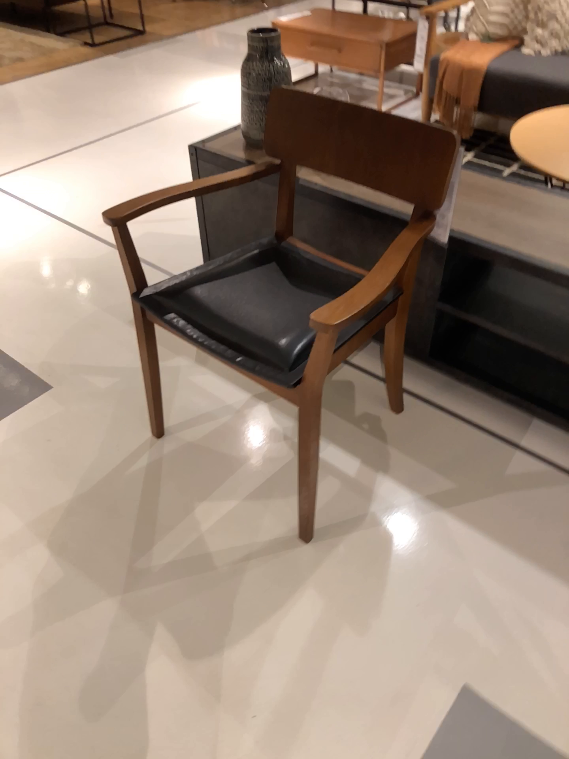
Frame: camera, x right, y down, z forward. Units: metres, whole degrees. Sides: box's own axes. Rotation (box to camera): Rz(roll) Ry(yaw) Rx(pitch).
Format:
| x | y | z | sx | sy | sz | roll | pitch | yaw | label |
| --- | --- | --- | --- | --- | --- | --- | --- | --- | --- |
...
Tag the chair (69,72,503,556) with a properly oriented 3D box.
| x | y | z | sx | sy | sz | roll | pitch | yaw | label |
| --- | --- | --- | --- | --- | --- | --- | --- | --- | --- |
| 0.017 | -0.168 | 1.389 | 0.562 | 0.744 | 0.573 | 29 | 50 | 30 | chair |
